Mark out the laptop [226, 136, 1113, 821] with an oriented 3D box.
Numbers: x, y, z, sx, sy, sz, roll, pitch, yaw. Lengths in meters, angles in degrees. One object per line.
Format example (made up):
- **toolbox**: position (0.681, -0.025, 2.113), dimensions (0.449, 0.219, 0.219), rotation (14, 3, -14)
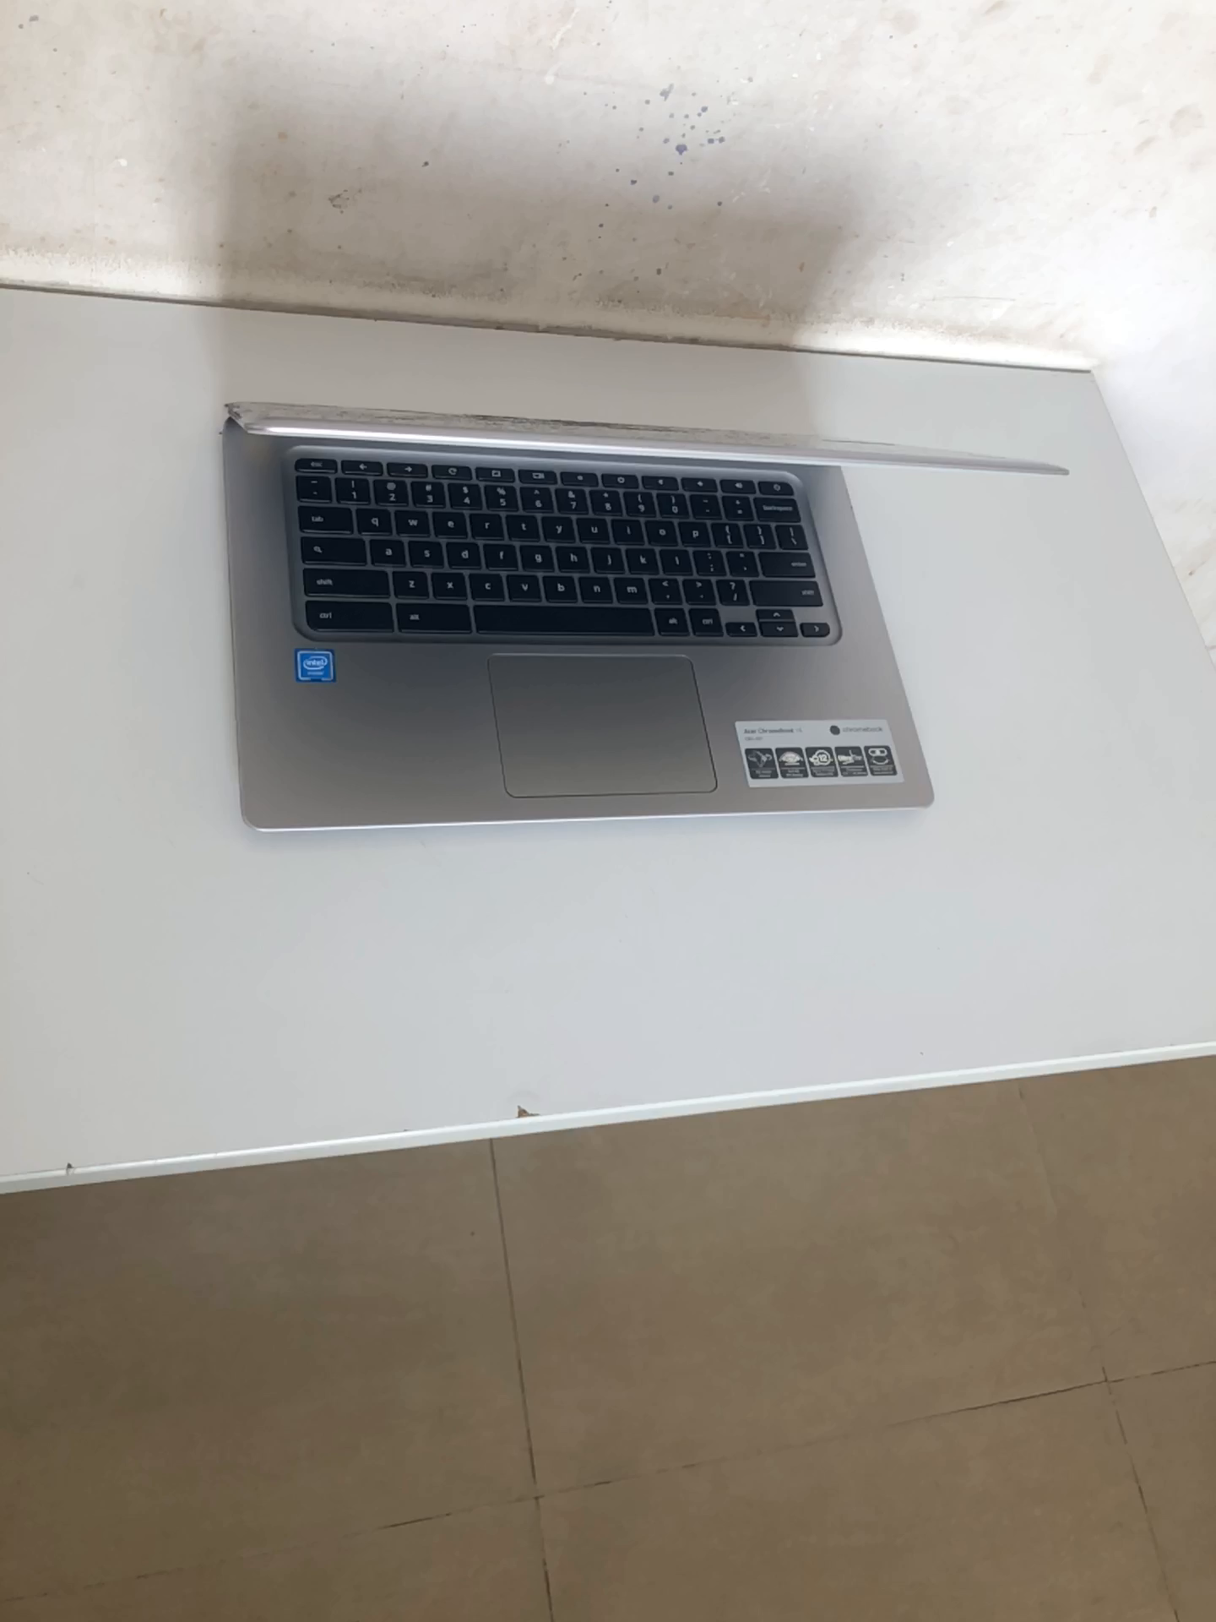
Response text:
- **laptop**: position (0.006, -0.135, 0.591), dimensions (0.326, 0.155, 0.222), rotation (-2, 64, -18)
